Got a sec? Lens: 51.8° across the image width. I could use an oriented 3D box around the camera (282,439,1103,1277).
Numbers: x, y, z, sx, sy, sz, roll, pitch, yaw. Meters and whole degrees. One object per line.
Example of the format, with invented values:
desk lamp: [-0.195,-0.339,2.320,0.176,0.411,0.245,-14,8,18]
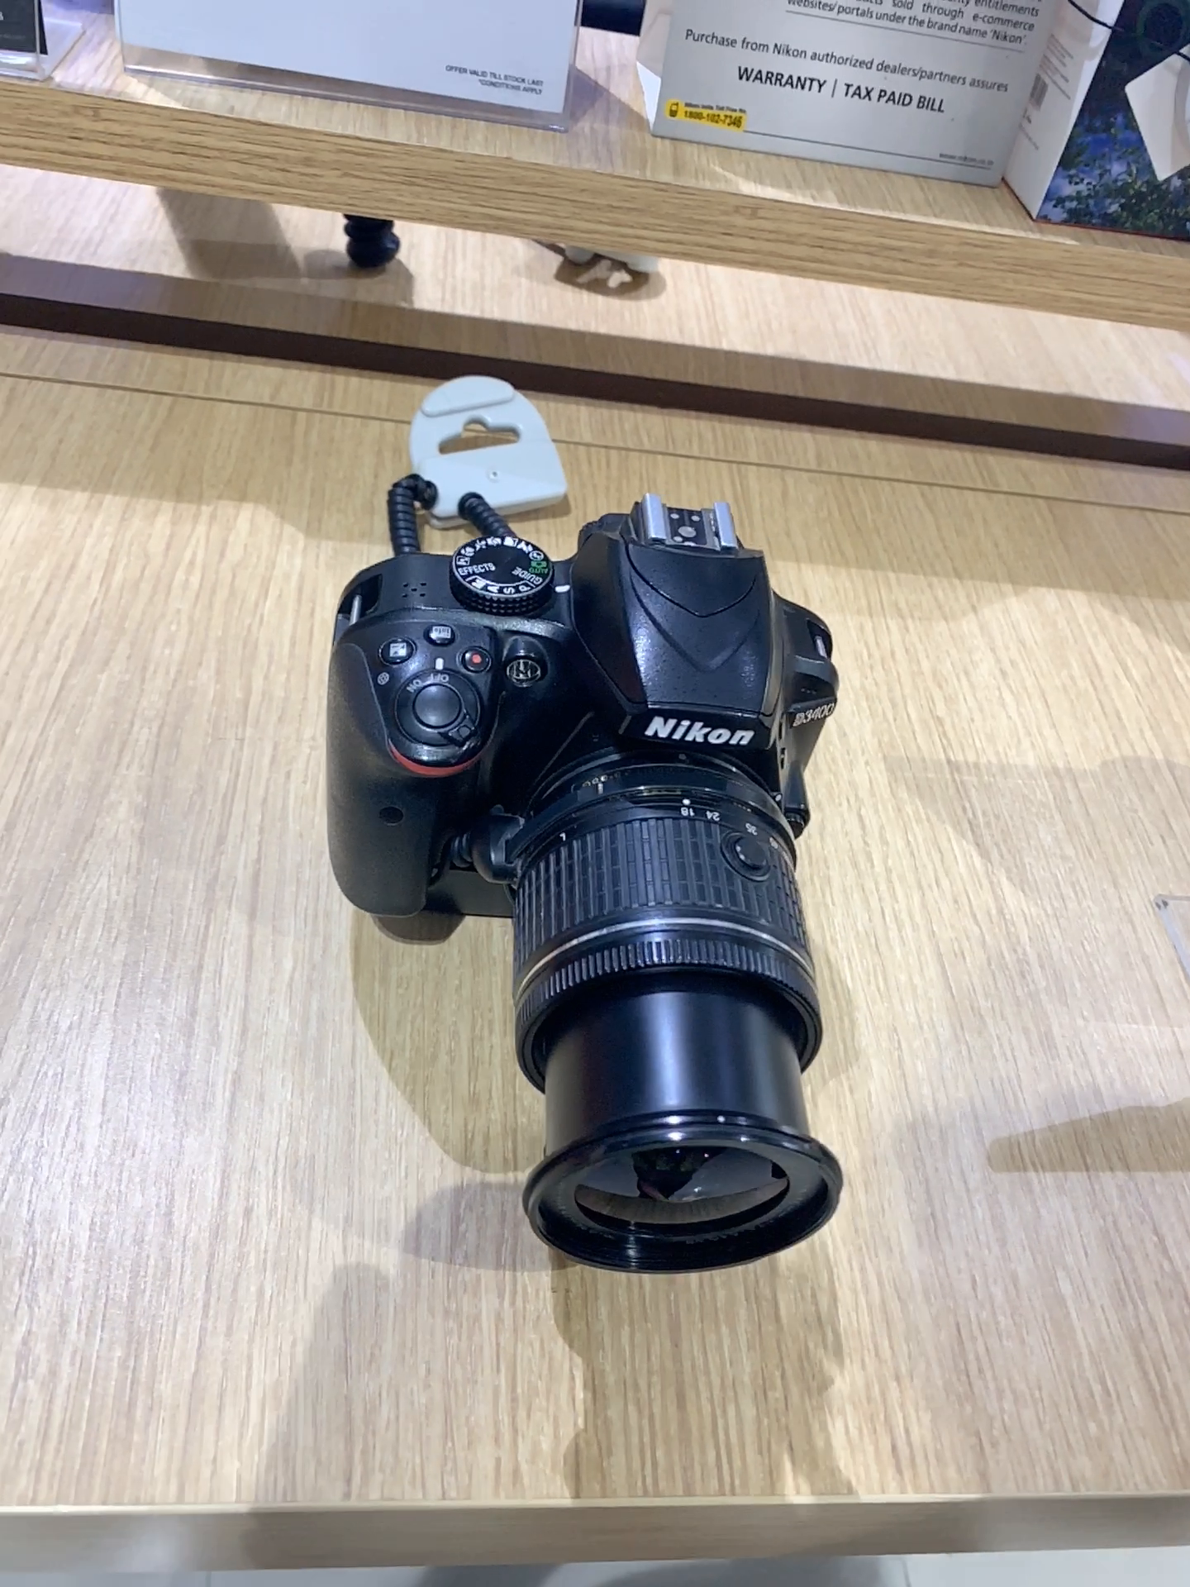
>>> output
camera: [0.006,0.012,0.255,0.120,0.094,0.140,4,47,-9]
